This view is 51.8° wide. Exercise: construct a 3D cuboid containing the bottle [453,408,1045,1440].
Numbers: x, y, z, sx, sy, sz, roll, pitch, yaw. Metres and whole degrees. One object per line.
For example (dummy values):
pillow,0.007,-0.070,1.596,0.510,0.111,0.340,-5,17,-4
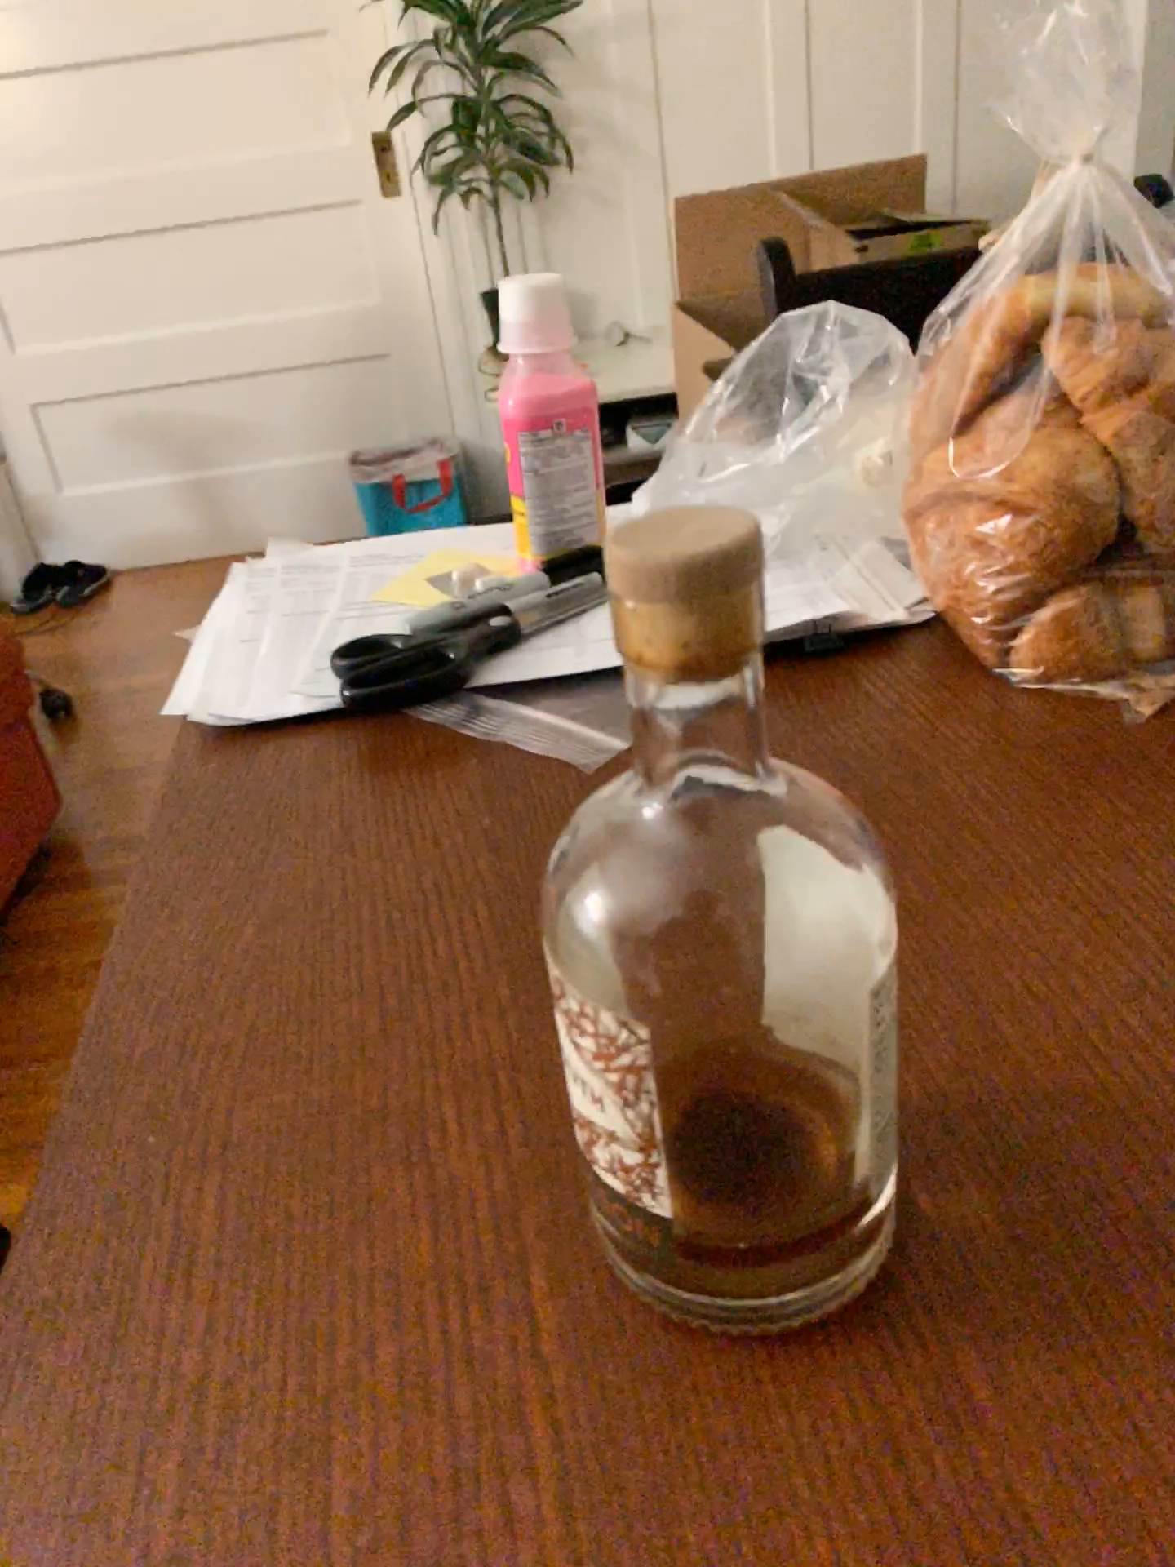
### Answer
bottle,0.031,0.031,0.259,0.080,0.189,0.091,-11,29,-6
